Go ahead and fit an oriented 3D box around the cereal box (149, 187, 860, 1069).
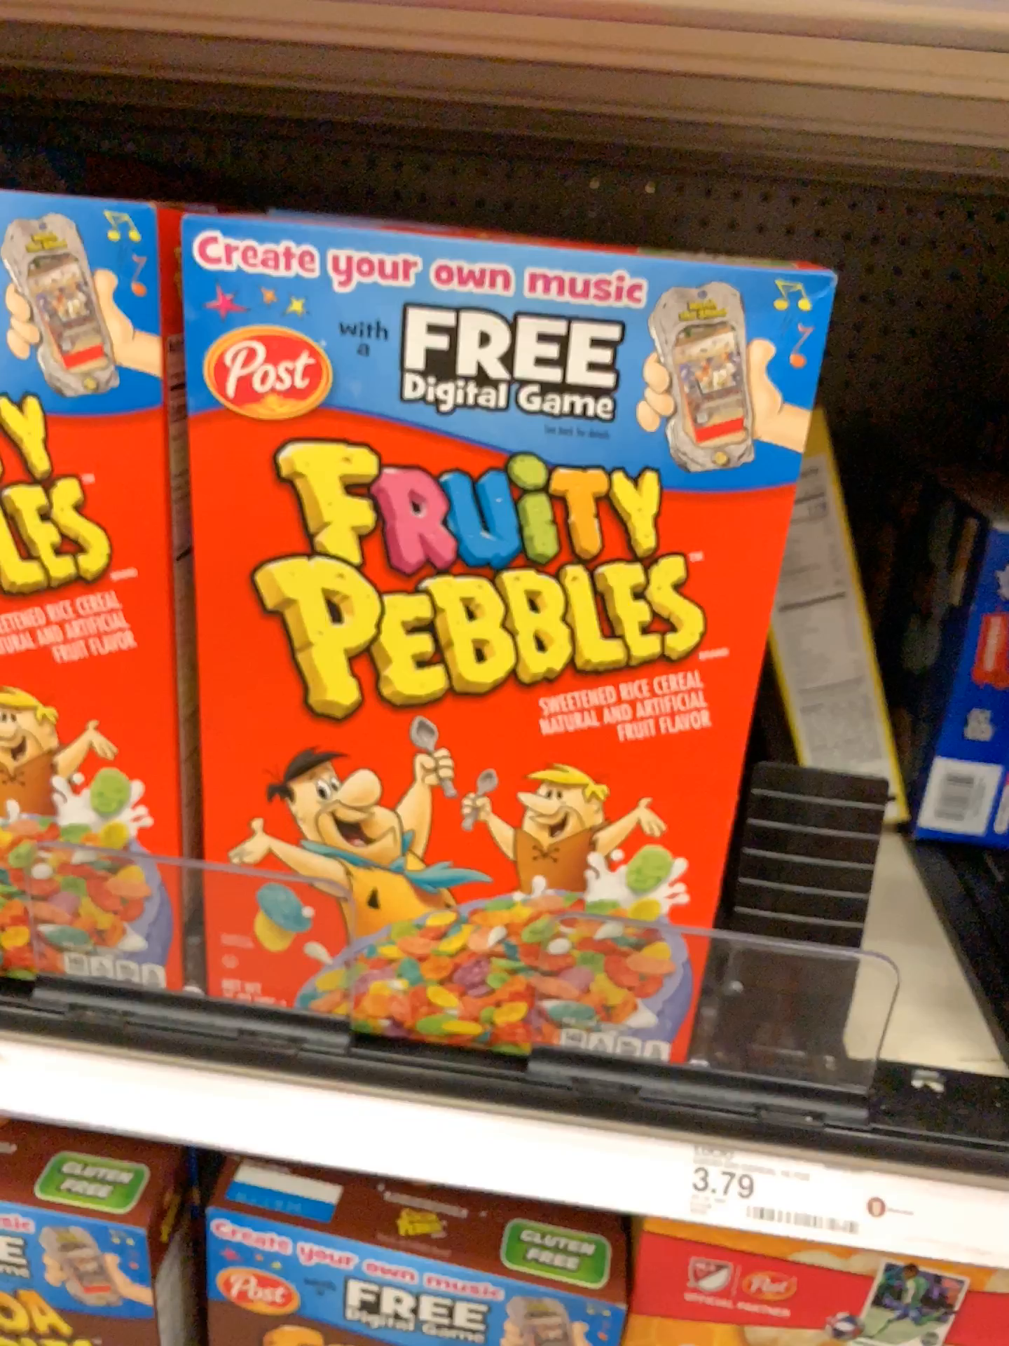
[{"bbox_3d":[-0.011,-0.006,0.378,0.200,0.289,0.060,7,23,4],"label":"cereal box"}]
